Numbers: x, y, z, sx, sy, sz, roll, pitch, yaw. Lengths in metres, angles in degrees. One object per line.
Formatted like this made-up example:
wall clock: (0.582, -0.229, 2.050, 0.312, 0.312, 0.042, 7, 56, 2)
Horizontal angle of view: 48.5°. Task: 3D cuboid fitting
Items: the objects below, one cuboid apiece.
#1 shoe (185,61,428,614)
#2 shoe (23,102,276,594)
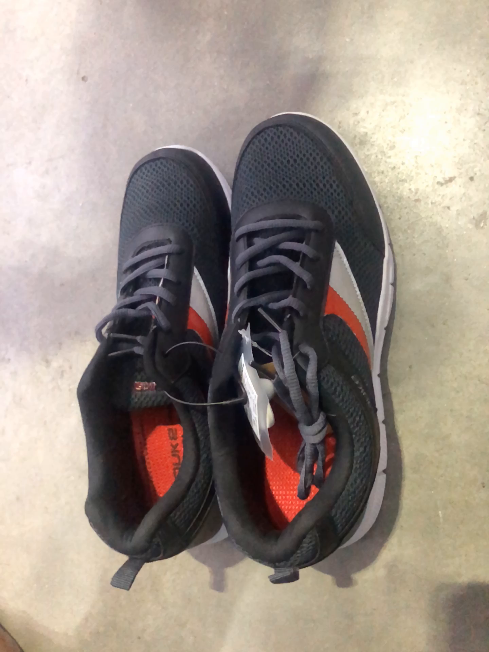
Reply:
shoe: (0.041, 0.007, 0.332, 0.110, 0.100, 0.270, -4, 85, 23)
shoe: (-0.061, 0.015, 0.364, 0.110, 0.100, 0.270, -8, 84, 23)
